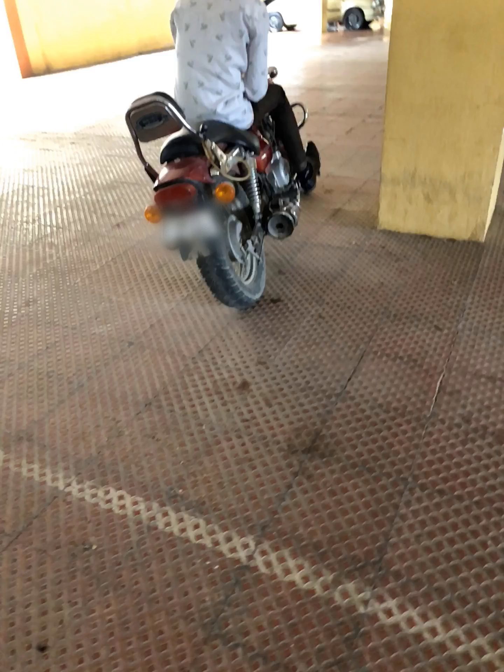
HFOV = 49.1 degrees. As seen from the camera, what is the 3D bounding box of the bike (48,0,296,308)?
[{"bbox_3d":[-0.223,-1.114,2.550,0.756,1.048,1.658,-1,38,3],"label":"bike"}]
